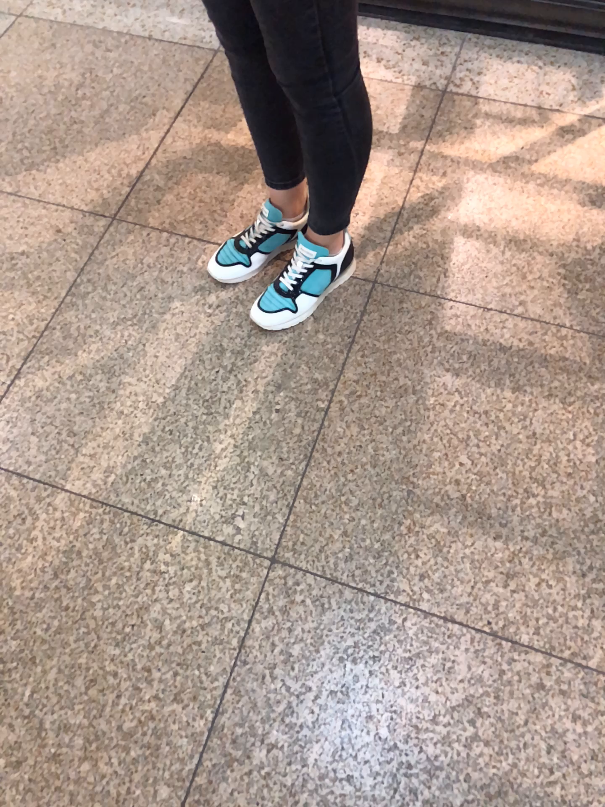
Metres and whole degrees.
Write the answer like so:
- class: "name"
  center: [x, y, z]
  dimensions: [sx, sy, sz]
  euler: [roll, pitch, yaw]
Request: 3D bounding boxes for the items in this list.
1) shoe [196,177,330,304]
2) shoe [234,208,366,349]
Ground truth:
- class: "shoe"
  center: [-0.073, -0.327, 1.327]
  dimensions: [0.240, 0.120, 0.100]
  euler: [-32, 64, -13]
- class: "shoe"
  center: [0.000, -0.238, 1.263]
  dimensions: [0.240, 0.120, 0.100]
  euler: [-41, 67, -17]
